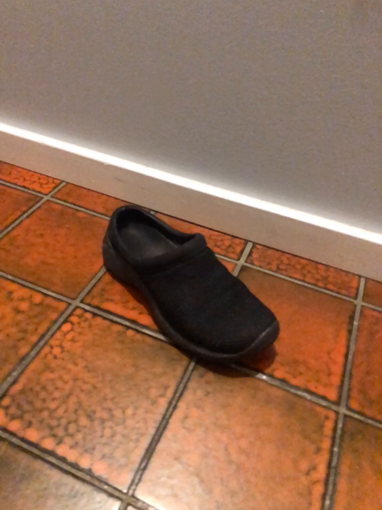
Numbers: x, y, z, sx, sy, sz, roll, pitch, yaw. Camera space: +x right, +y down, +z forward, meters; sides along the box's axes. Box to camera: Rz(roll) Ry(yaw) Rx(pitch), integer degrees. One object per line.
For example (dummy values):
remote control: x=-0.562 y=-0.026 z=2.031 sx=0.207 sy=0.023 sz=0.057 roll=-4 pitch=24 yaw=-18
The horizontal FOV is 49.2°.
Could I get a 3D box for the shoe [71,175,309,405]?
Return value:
shoe: x=-0.015 y=0.020 z=0.450 sx=0.100 sy=0.080 sz=0.251 roll=-29 pitch=53 yaw=-32
